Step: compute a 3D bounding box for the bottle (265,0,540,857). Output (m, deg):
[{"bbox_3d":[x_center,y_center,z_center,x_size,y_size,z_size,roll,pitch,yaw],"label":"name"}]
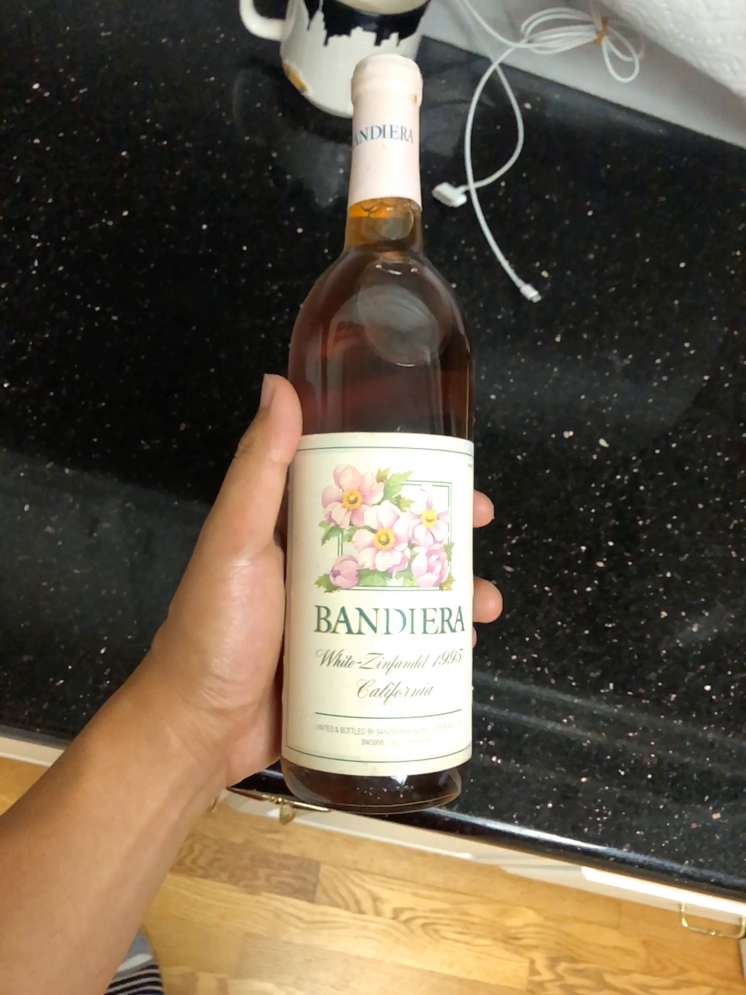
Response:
[{"bbox_3d":[0.009,-0.029,0.321,0.080,0.070,0.300,3,86,-12],"label":"bottle"}]
